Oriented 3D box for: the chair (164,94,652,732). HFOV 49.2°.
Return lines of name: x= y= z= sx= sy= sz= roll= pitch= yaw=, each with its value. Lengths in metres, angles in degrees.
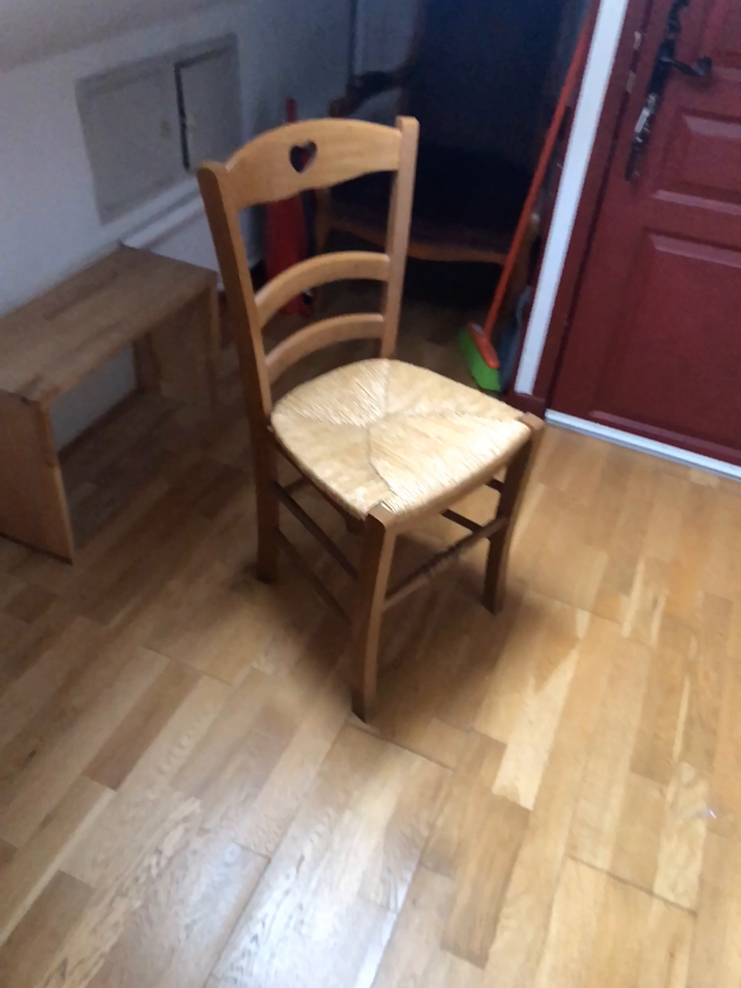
chair: x=0.026 y=-0.127 z=1.288 sx=0.434 sy=0.792 sz=0.461 roll=33 pitch=47 yaw=30
